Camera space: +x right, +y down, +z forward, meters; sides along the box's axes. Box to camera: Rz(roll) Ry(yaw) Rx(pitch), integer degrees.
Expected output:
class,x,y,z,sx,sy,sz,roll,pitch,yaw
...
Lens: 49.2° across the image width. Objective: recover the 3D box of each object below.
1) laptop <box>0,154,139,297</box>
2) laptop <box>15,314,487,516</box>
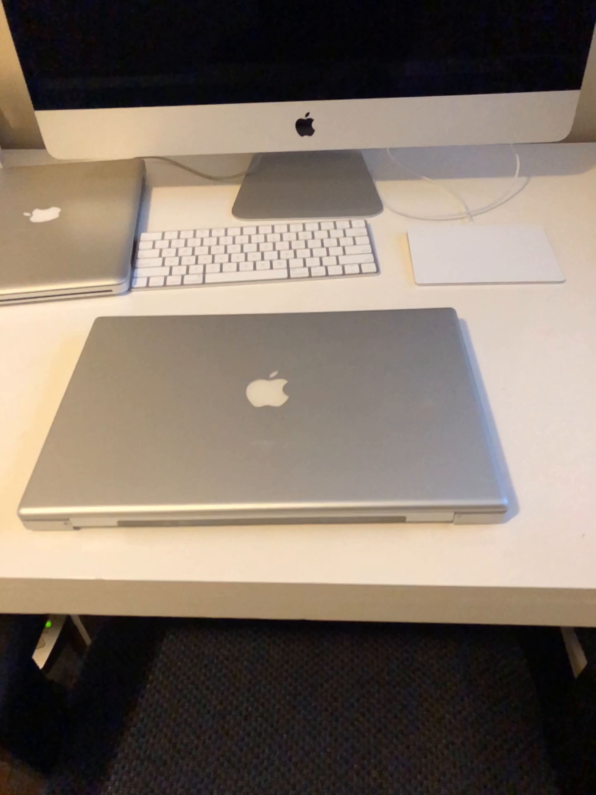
class,x,y,z,sx,sy,sz,roll,pitch,yaw
laptop,-0.312,-0.217,0.778,0.200,0.009,0.280,-3,45,-4
laptop,-0.031,0.003,0.535,0.332,0.005,0.215,-1,45,2
